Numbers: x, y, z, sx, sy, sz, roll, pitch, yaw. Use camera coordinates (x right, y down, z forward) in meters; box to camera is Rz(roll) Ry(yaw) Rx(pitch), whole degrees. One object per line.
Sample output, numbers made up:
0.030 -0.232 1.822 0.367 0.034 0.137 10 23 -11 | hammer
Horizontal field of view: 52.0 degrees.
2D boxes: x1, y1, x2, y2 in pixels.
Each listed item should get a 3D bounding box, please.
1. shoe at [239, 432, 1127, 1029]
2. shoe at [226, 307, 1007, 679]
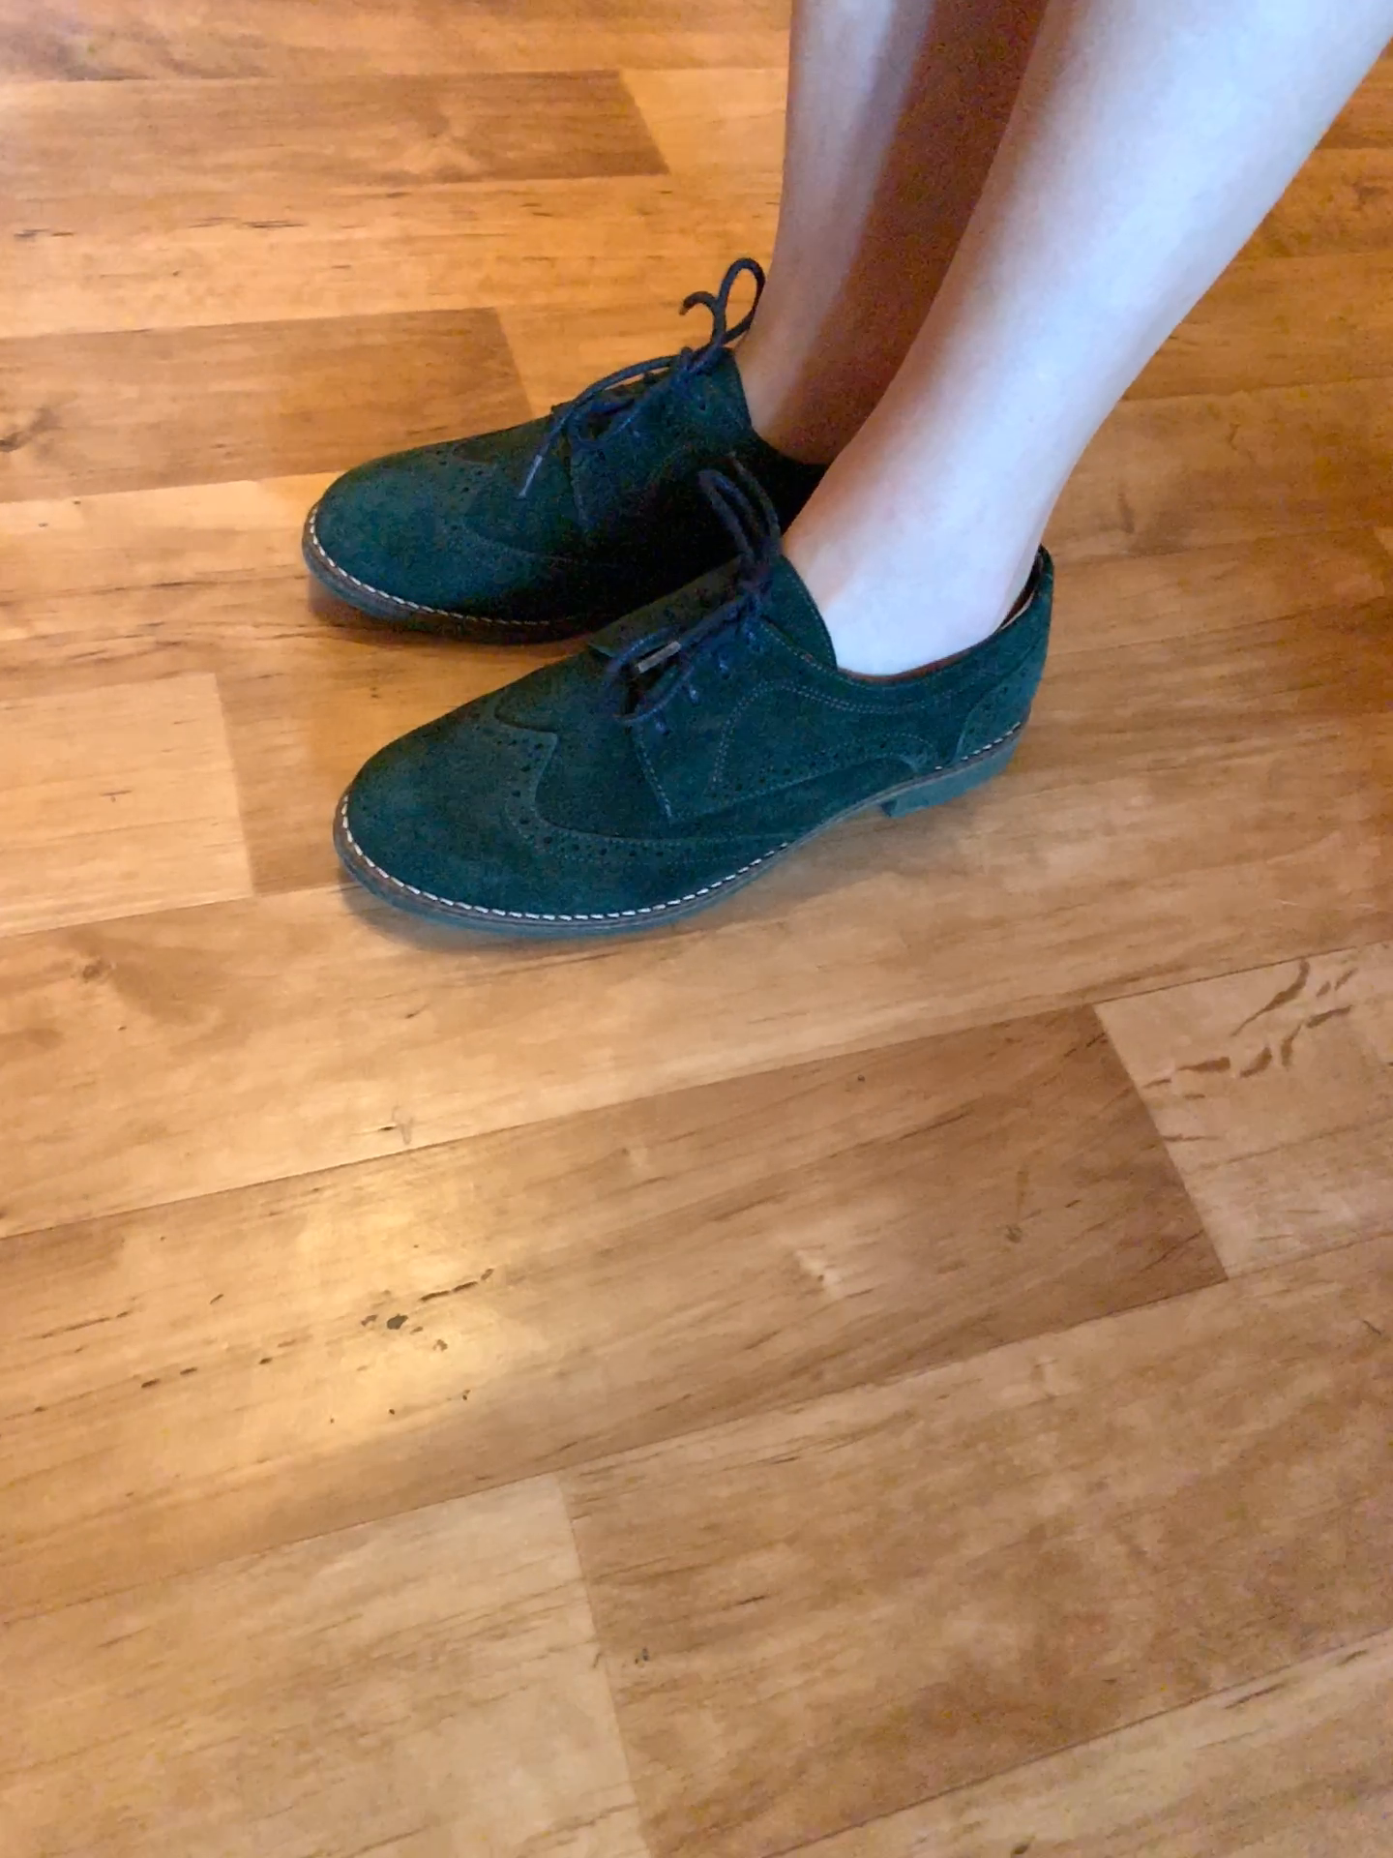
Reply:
-0.003 -0.071 0.460 0.250 0.080 0.100 -20 64 -22 | shoe
-0.031 -0.165 0.531 0.260 0.080 0.090 -8 60 -15 | shoe
